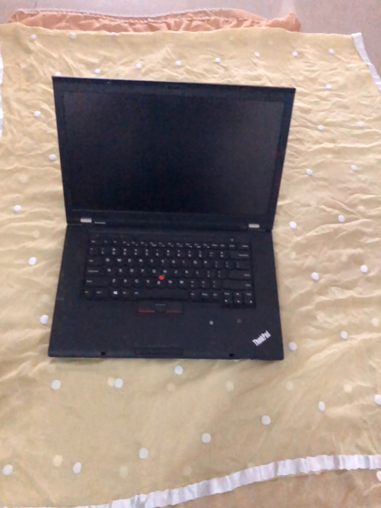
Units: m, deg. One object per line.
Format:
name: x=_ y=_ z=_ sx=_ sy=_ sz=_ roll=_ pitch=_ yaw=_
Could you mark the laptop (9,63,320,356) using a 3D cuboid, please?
laptop: x=-0.031 y=-0.060 z=0.649 sx=0.363 sy=0.191 sz=0.381 roll=2 pitch=67 yaw=-3
